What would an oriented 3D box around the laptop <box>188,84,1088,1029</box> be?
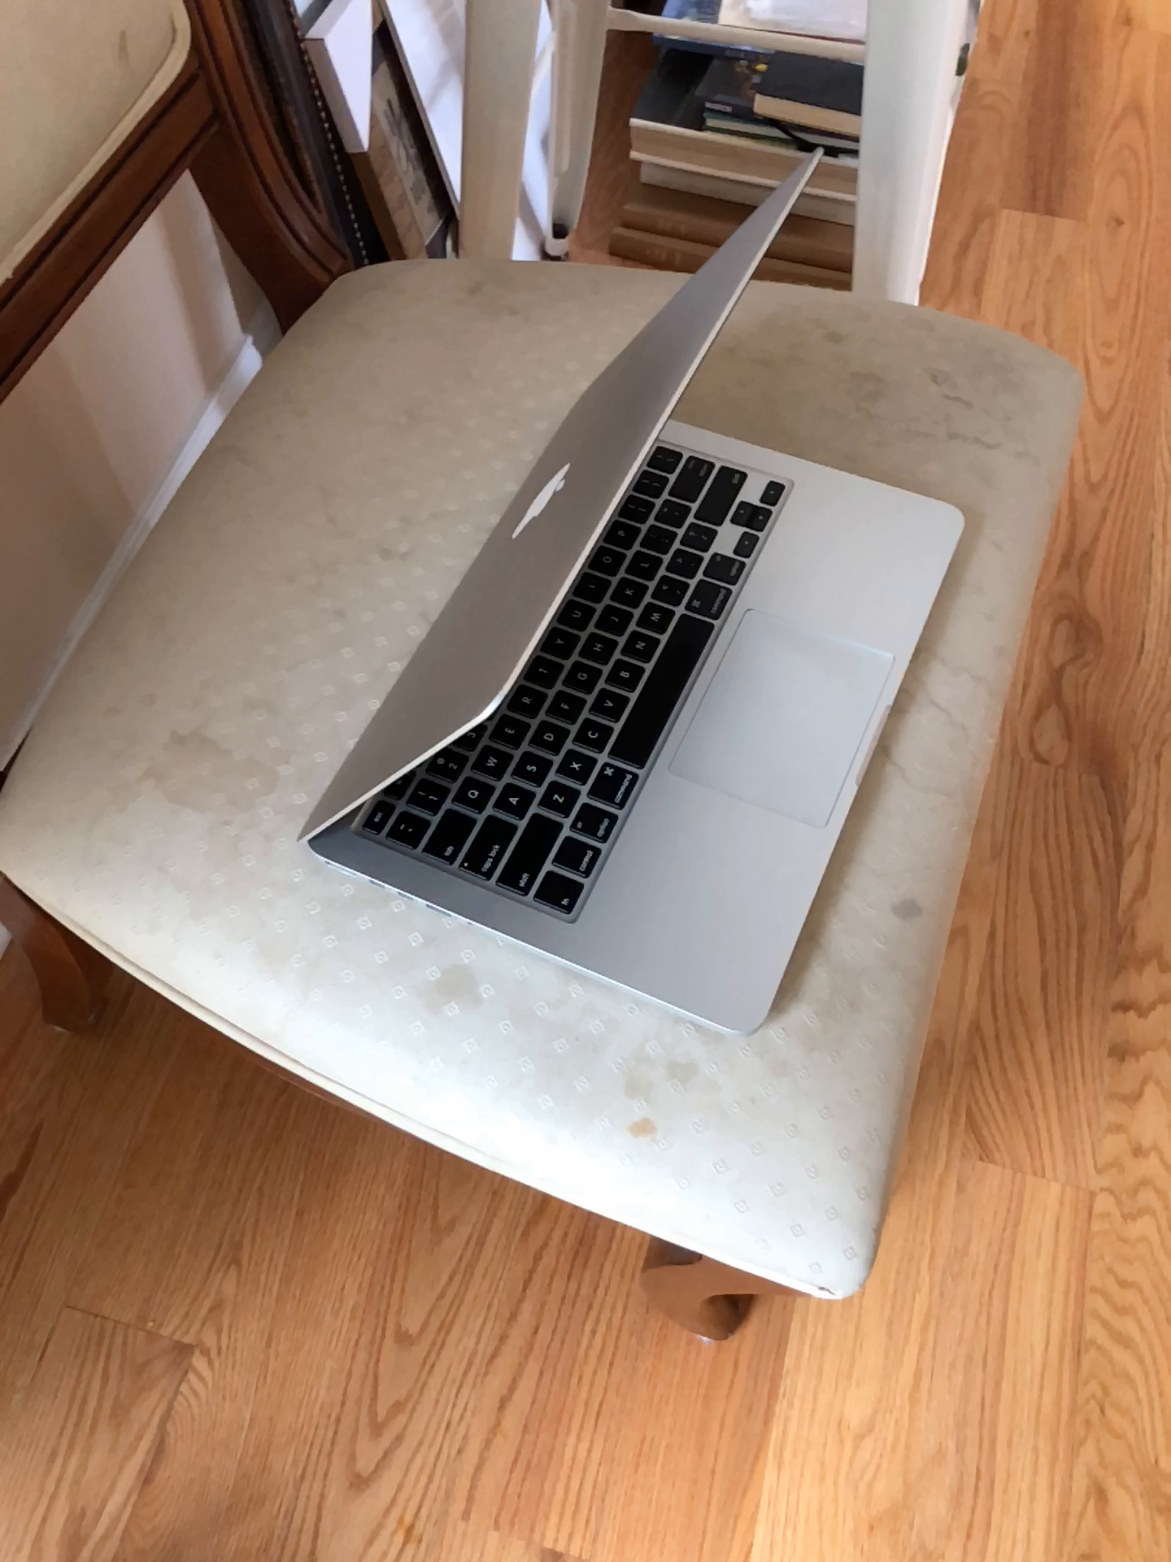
[{"bbox_3d":[0.034,-0.101,0.545,0.218,0.183,0.310,21,62,13],"label":"laptop"}]
